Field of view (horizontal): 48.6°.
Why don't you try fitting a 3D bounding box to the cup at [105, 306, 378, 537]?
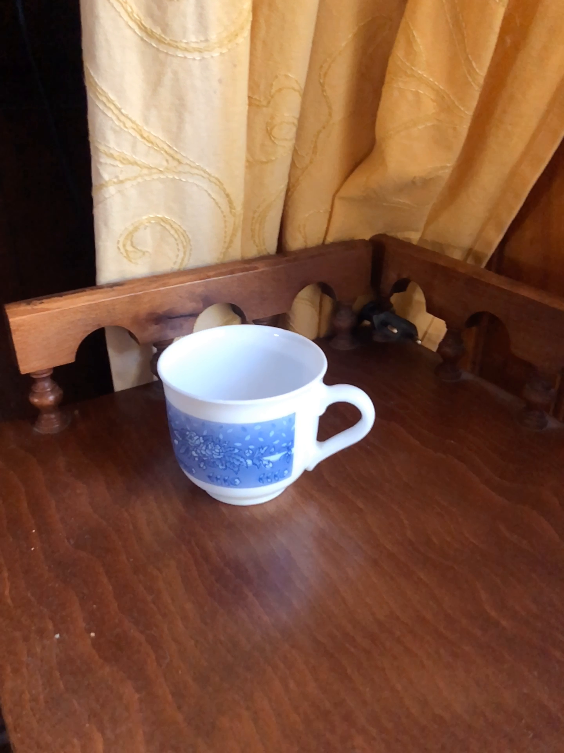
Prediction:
[{"bbox_3d":[-0.011,0.015,0.280,0.100,0.060,0.081,5,28,9],"label":"cup"}]
